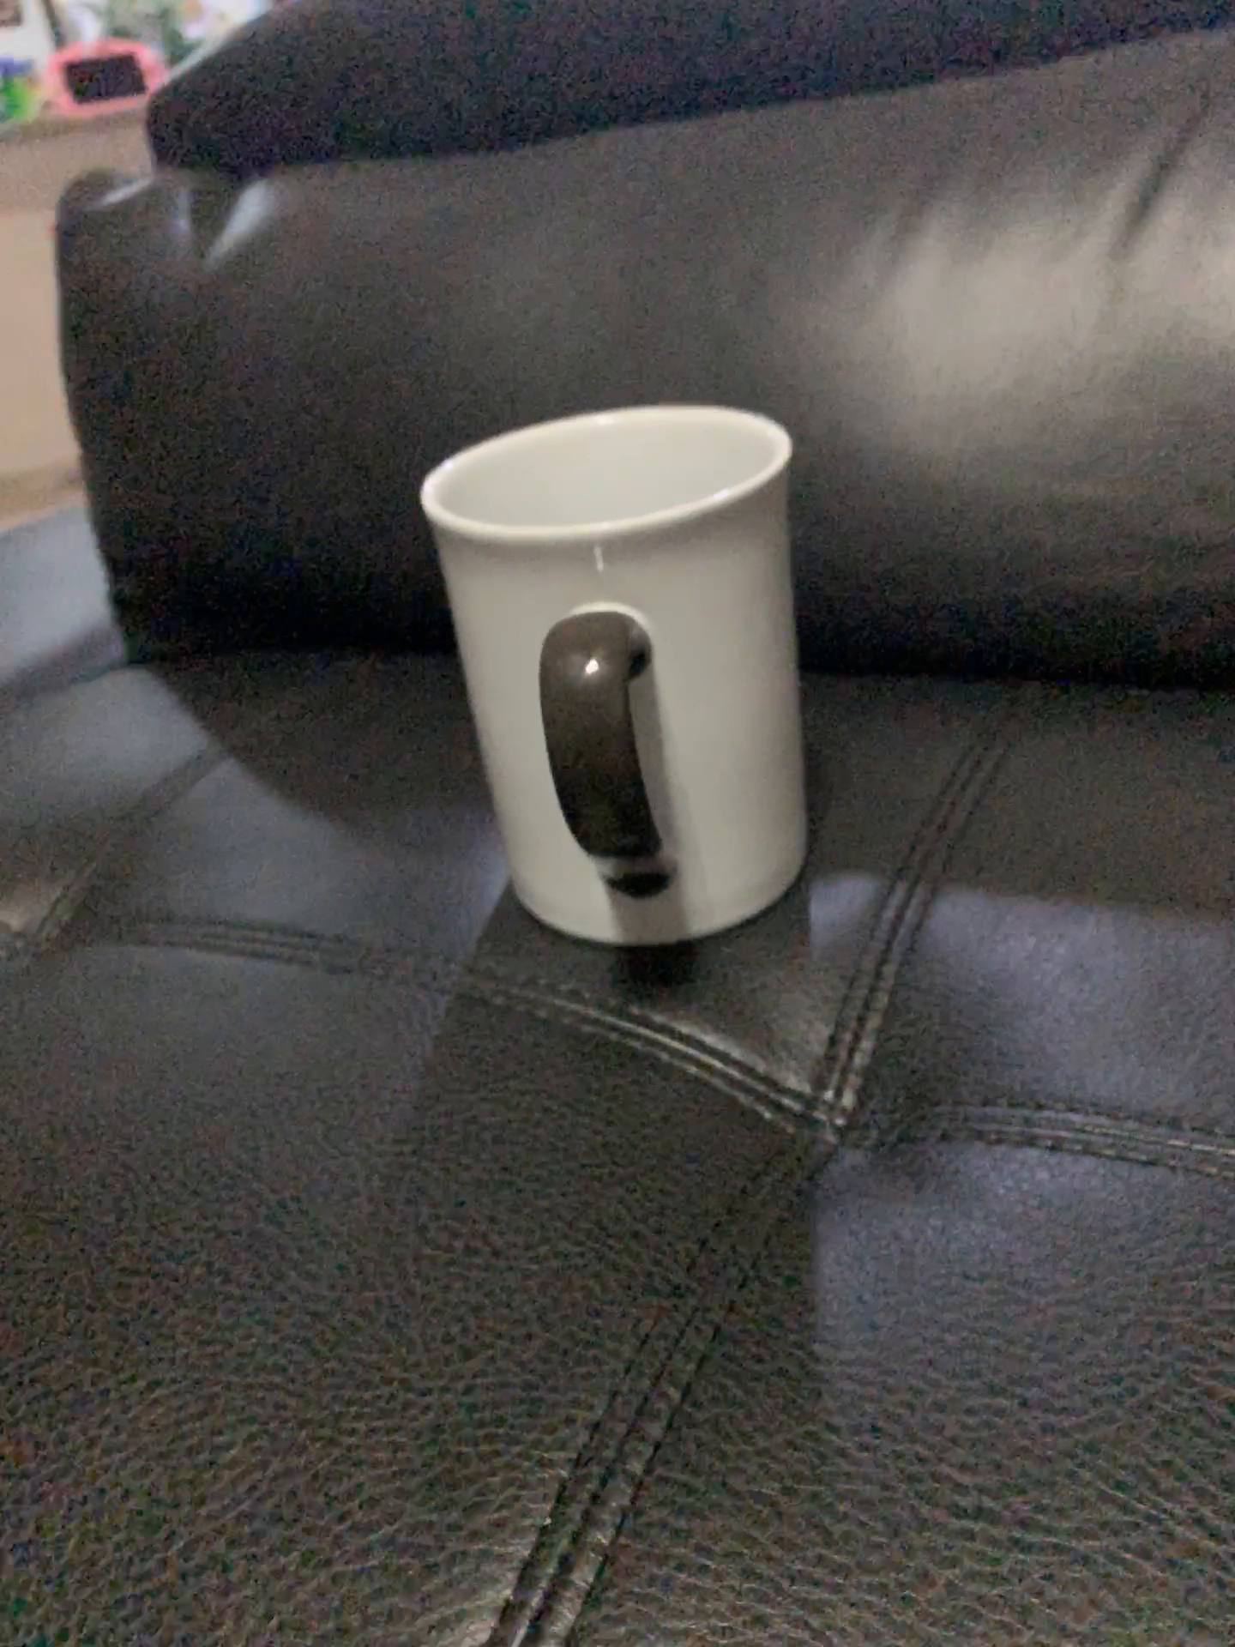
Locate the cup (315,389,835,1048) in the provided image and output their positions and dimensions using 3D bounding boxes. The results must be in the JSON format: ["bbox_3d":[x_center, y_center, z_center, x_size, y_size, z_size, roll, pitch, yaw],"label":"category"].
[{"bbox_3d":[0.002,-0.031,0.320,0.092,0.115,0.124,-3,27,9],"label":"cup"}]
